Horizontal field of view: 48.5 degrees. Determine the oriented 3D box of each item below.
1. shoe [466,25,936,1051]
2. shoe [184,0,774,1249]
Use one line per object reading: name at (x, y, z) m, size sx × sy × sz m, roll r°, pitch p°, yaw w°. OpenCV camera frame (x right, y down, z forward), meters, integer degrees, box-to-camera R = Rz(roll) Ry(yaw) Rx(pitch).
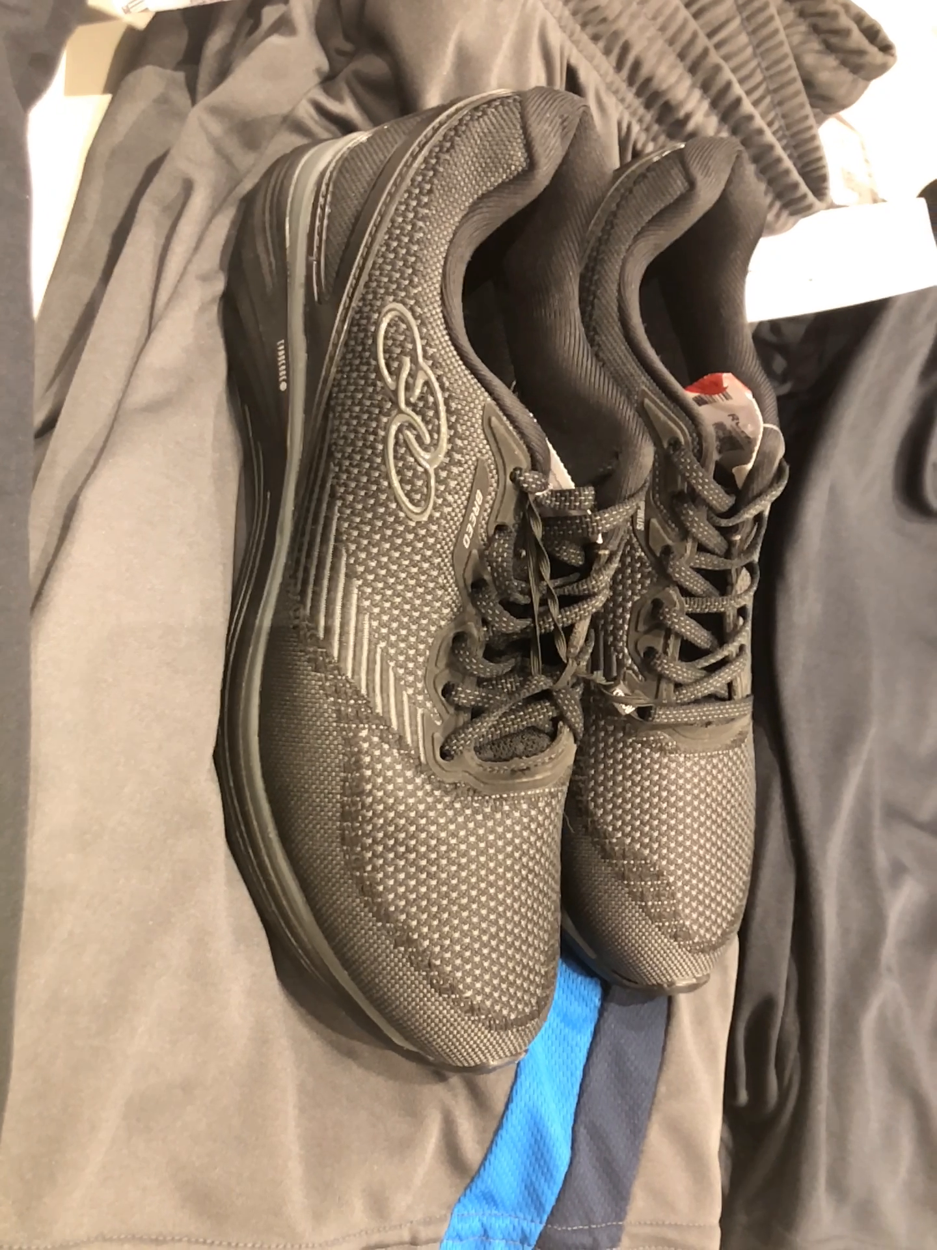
shoe at (0.079, -0.024, 0.347) m, size 0.101 × 0.099 × 0.280 m, roll 3°, pitch 80°, yaw -39°
shoe at (-0.004, -0.006, 0.280) m, size 0.101 × 0.099 × 0.270 m, roll 3°, pitch 80°, yaw -39°
